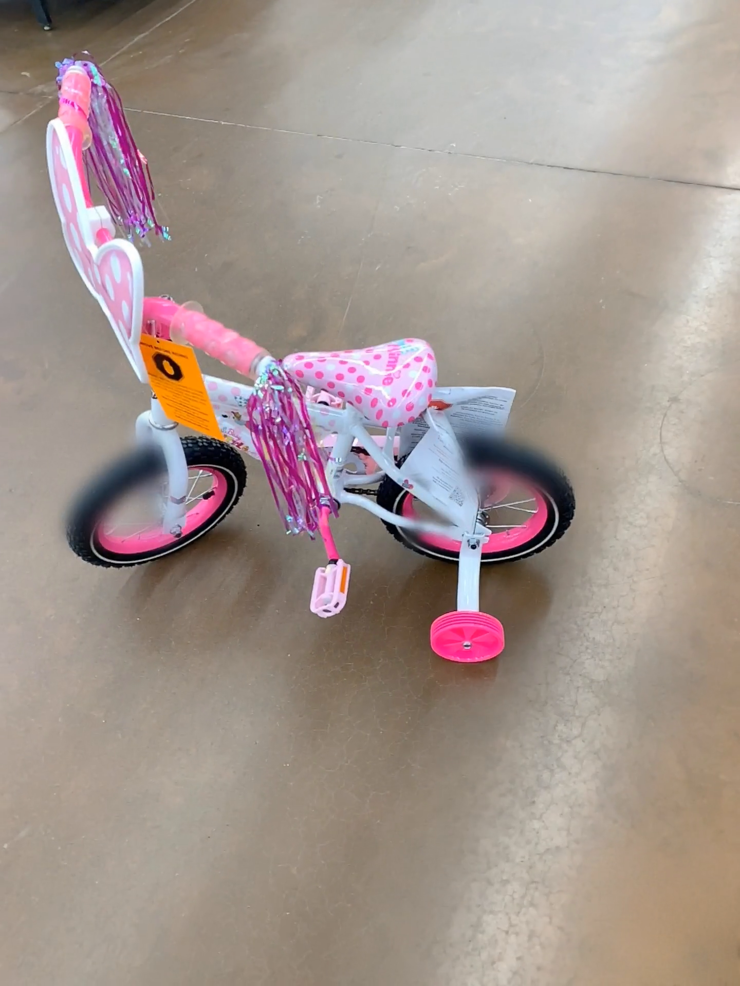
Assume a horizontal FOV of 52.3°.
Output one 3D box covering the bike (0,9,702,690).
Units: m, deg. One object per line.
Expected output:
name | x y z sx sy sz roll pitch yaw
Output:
bike | -0.102 -0.126 0.997 0.724 0.648 0.503 -5 50 6
